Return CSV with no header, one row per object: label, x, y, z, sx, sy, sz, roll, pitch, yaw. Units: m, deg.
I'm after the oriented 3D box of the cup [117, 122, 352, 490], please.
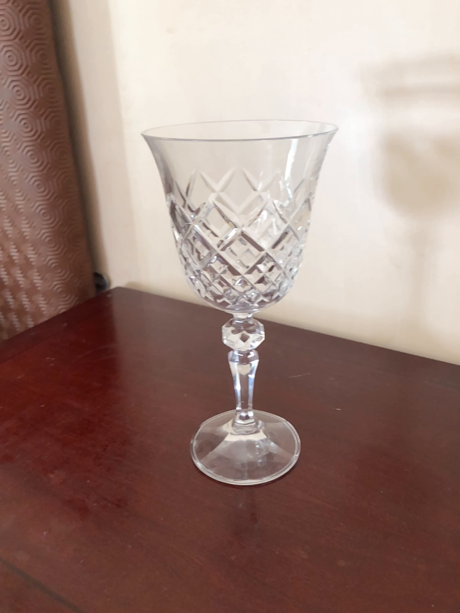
cup,0.008,-0.003,0.273,0.091,0.171,0.092,-2,24,1
